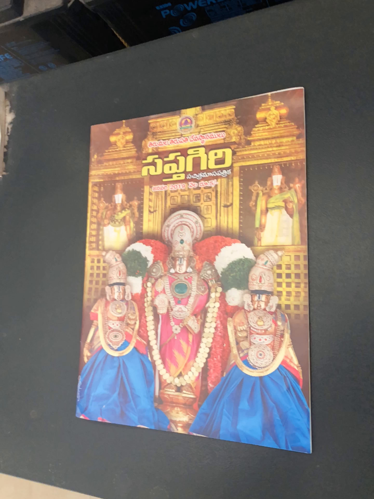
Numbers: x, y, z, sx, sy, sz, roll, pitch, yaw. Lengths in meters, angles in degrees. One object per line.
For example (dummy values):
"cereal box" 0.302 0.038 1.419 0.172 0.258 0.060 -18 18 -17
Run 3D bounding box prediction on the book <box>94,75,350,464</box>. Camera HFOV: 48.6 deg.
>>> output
"book" 0.022 0.011 0.342 0.200 0.030 0.270 -2 81 24
